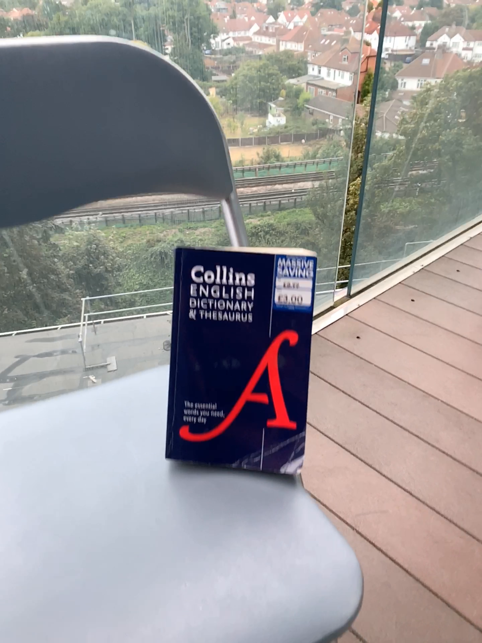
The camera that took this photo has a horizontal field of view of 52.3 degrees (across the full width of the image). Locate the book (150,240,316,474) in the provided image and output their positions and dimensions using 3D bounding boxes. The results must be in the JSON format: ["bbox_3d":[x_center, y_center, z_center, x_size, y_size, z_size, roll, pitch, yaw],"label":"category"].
[{"bbox_3d":[-0.007,0.028,0.460,0.140,0.200,0.060,3,6,6],"label":"book"}]
